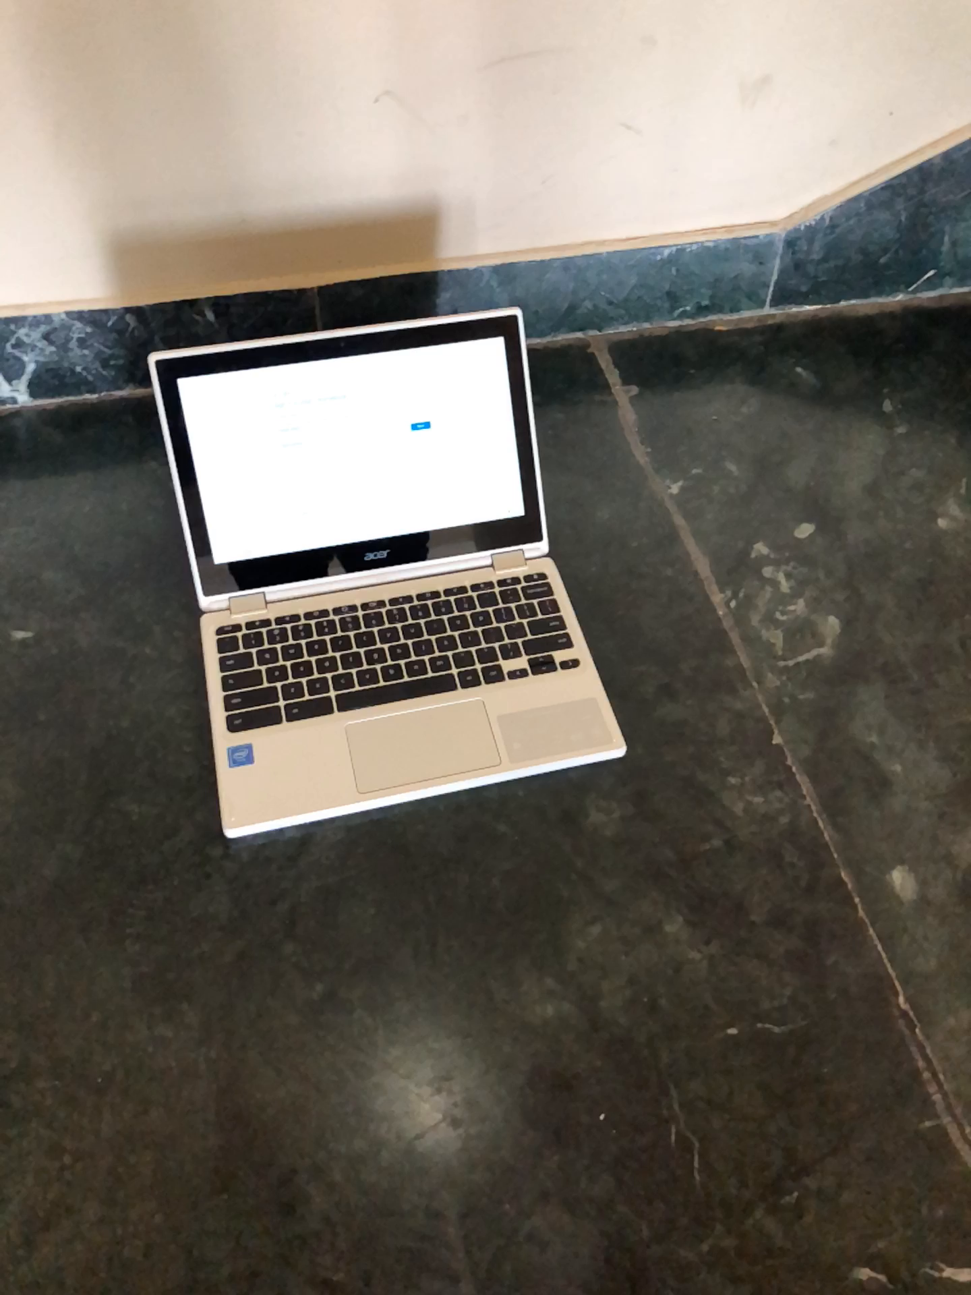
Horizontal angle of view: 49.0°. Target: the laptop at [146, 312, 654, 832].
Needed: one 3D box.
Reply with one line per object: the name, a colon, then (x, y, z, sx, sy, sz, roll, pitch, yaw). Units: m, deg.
laptop: (-0.075, -0.069, 0.771, 0.281, 0.156, 0.315, -11, 52, -10)
